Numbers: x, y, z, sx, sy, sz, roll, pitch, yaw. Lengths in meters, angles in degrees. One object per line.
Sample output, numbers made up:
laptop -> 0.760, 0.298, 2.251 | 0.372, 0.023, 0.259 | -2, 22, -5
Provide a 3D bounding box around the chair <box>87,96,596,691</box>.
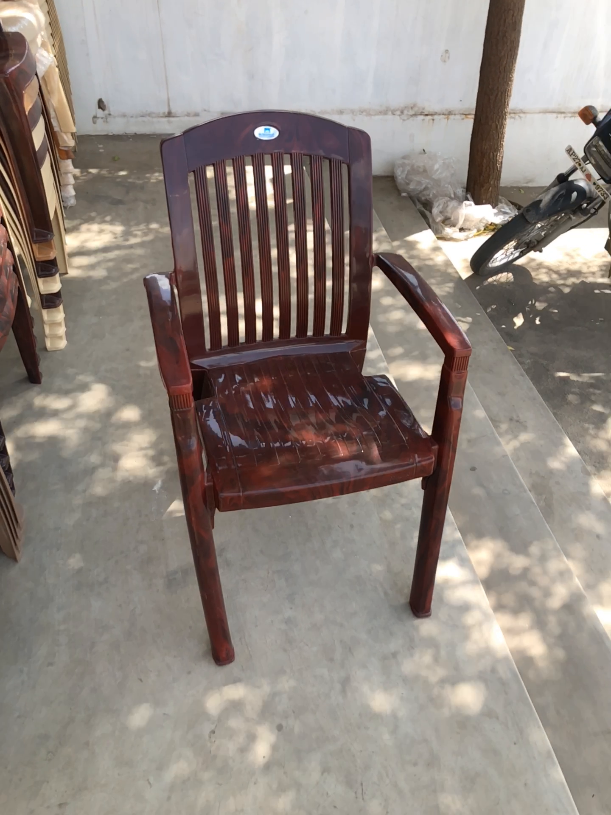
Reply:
chair -> -0.024, -0.045, 1.337 | 0.611, 0.856, 0.693 | -10, 43, -14
